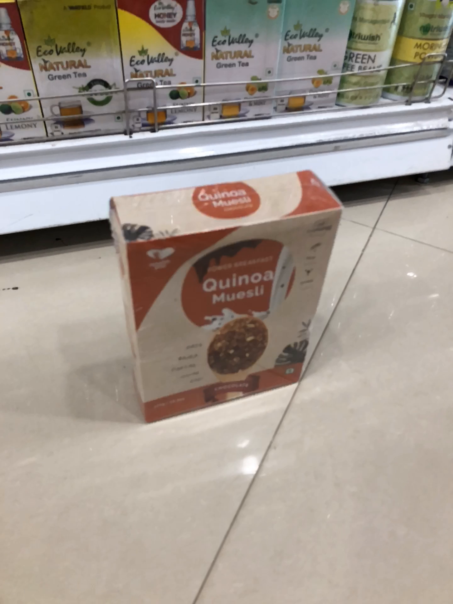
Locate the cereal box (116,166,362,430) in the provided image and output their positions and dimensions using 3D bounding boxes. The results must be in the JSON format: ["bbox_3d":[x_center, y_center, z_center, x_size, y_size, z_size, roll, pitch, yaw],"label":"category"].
[{"bbox_3d":[0.002,0.007,0.413,0.160,0.219,0.050,-12,48,-17],"label":"cereal box"}]
